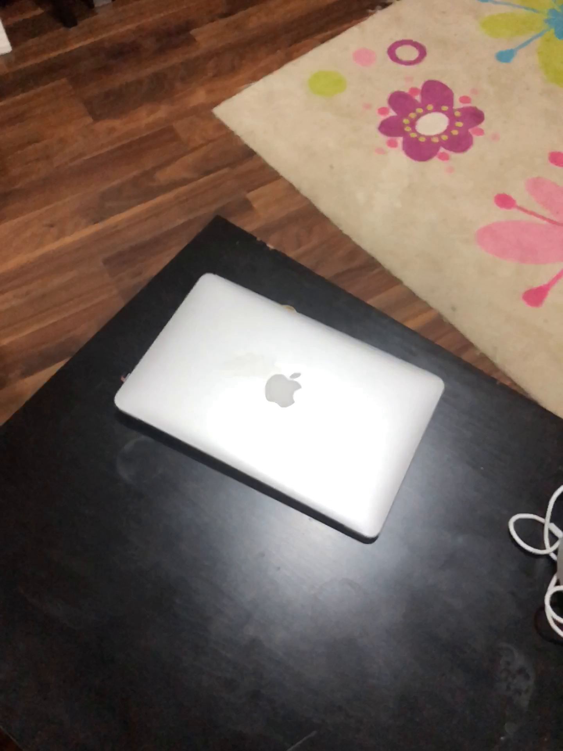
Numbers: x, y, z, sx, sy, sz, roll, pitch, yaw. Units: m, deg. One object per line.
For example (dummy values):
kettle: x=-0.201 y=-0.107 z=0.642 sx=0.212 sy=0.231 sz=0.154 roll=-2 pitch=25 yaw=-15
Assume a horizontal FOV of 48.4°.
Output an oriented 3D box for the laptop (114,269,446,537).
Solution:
laptop: x=0.001 y=0.019 z=0.678 sx=0.300 sy=0.011 sz=0.190 roll=26 pitch=70 yaw=9
